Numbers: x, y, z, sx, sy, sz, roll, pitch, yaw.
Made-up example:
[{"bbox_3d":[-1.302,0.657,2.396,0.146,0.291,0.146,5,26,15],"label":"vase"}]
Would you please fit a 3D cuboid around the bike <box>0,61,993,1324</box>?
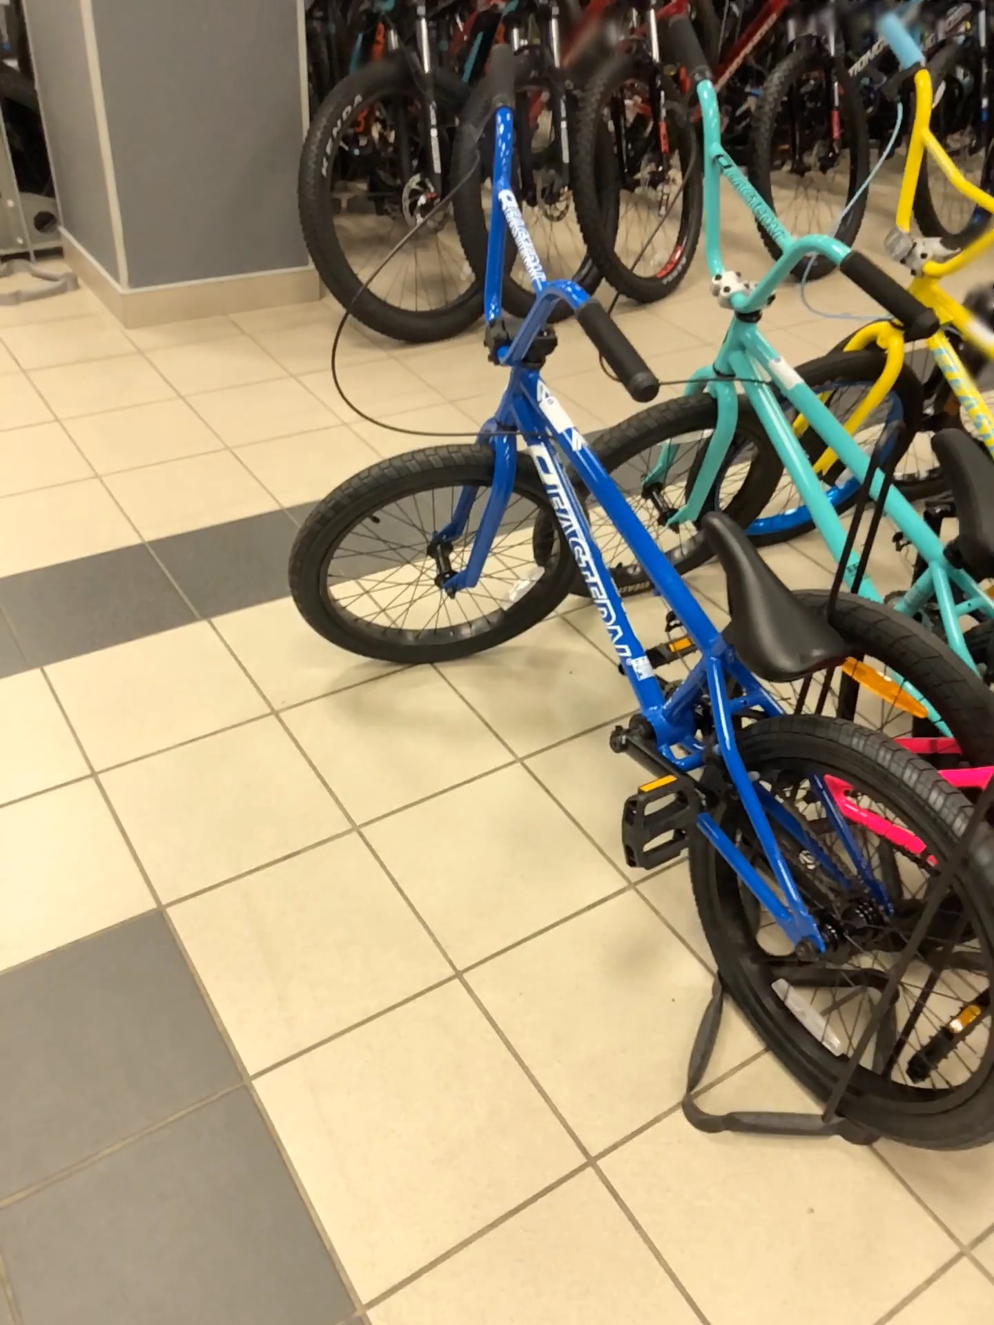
[{"bbox_3d":[0.160,-0.054,1.323,0.823,0.960,1.260,-25,47,-33],"label":"bike"}]
